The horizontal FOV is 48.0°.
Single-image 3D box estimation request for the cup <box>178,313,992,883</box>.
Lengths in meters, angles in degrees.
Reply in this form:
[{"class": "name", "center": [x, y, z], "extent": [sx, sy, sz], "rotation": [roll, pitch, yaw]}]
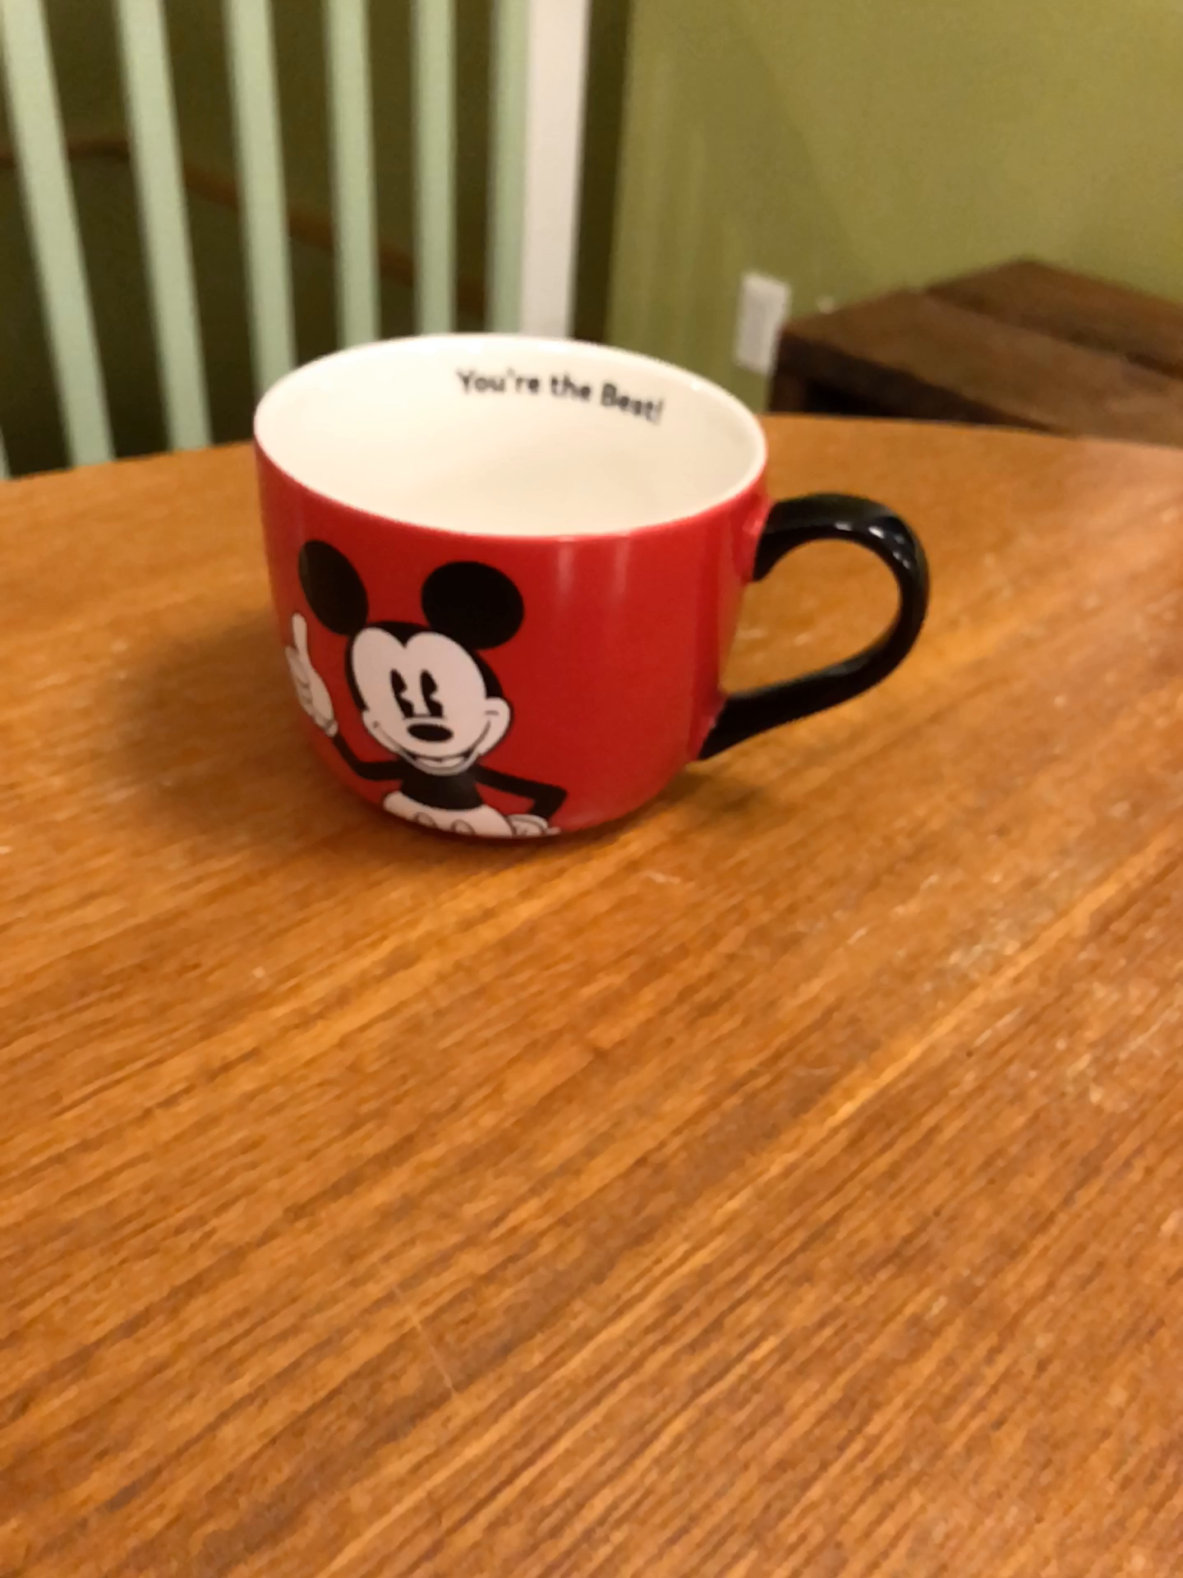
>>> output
[{"class": "cup", "center": [0.001, -0.047, 0.292], "extent": [0.142, 0.069, 0.103], "rotation": [6, 37, 2]}]
